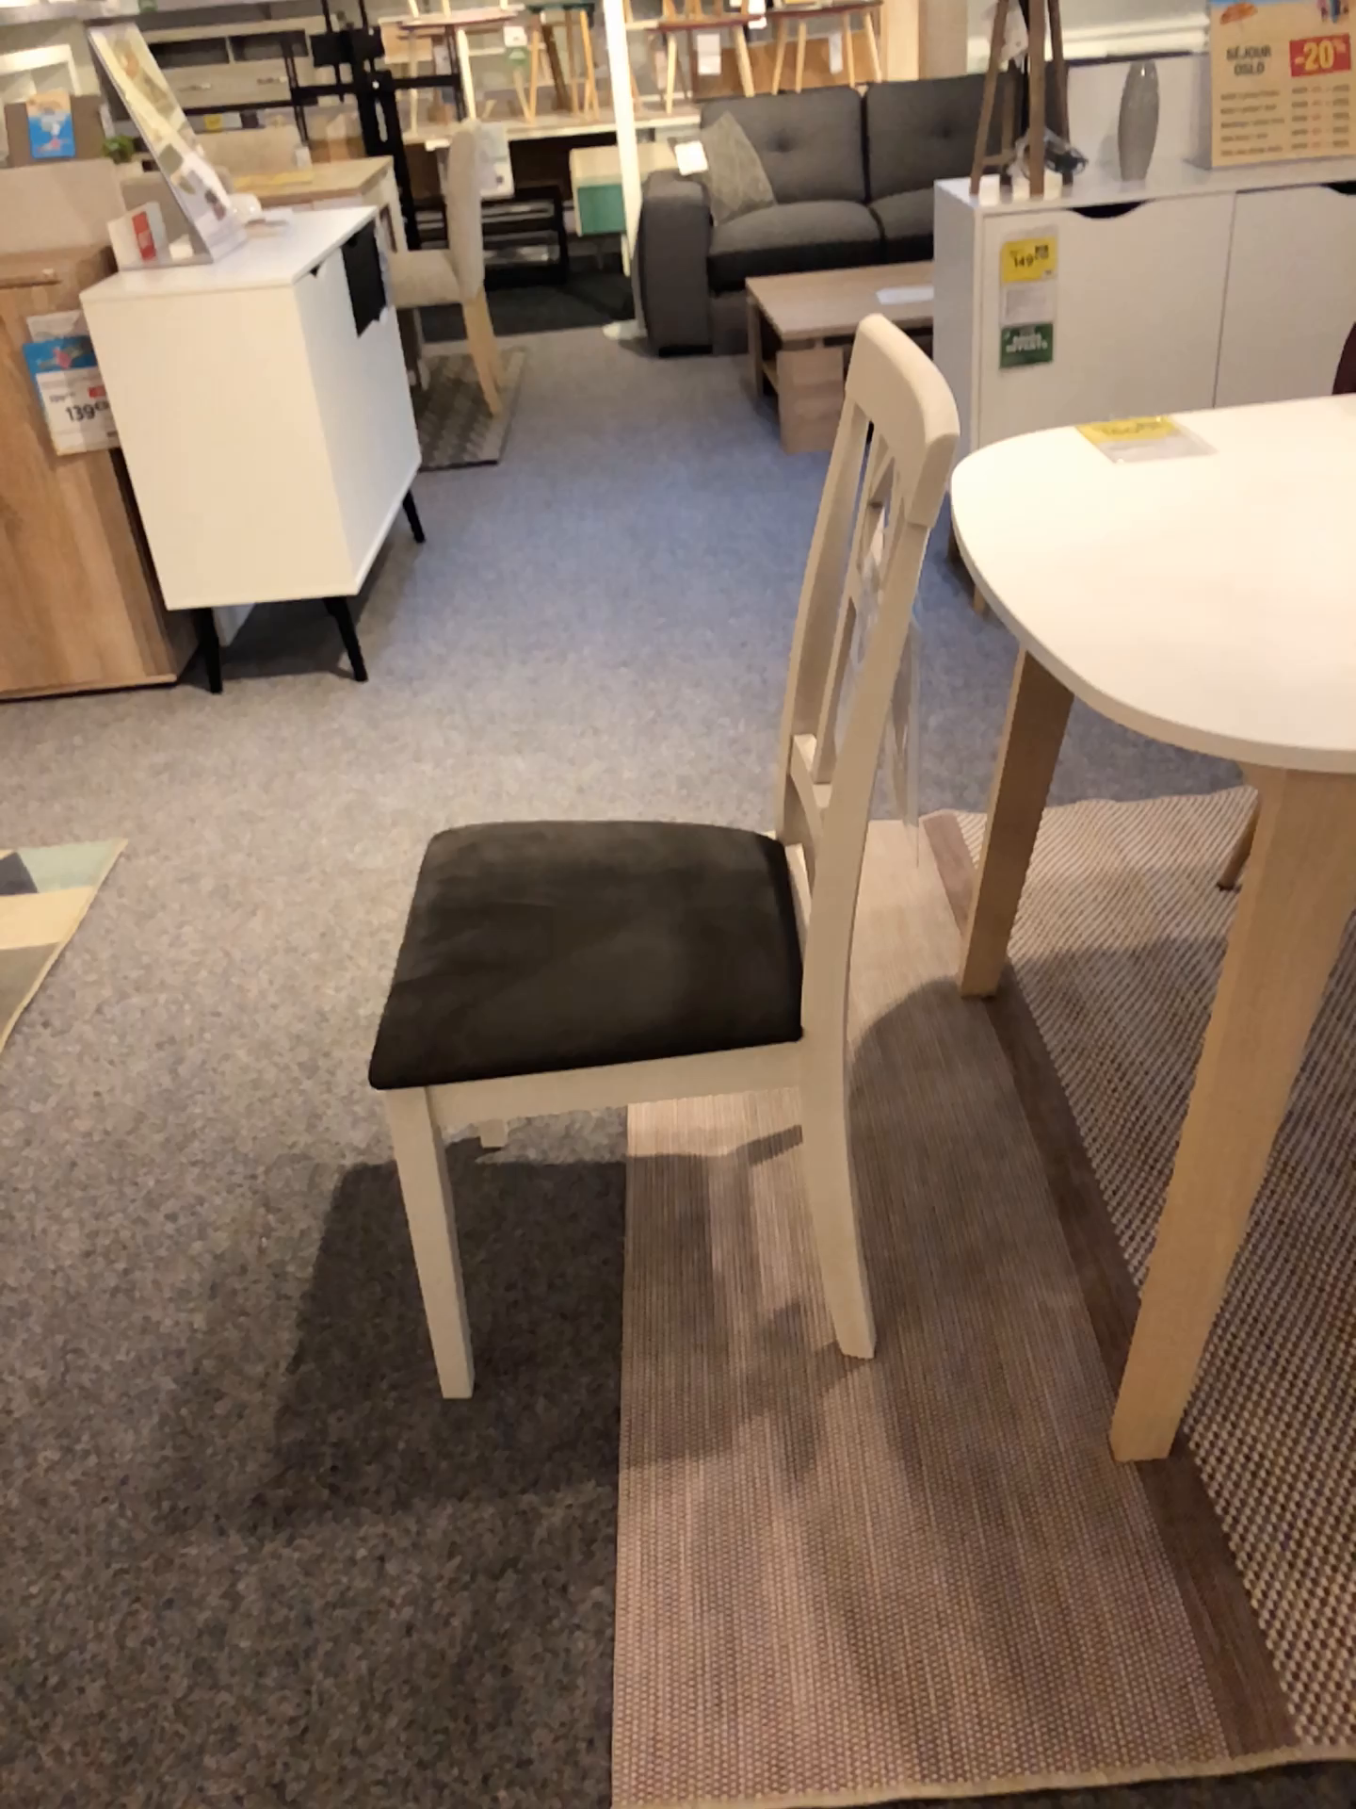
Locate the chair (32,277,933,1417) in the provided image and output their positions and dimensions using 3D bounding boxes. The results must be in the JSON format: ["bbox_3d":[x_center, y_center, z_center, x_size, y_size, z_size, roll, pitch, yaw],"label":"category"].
[{"bbox_3d":[-0.084,-0.047,1.352,0.560,0.855,0.513,-4,31,3],"label":"chair"}]
